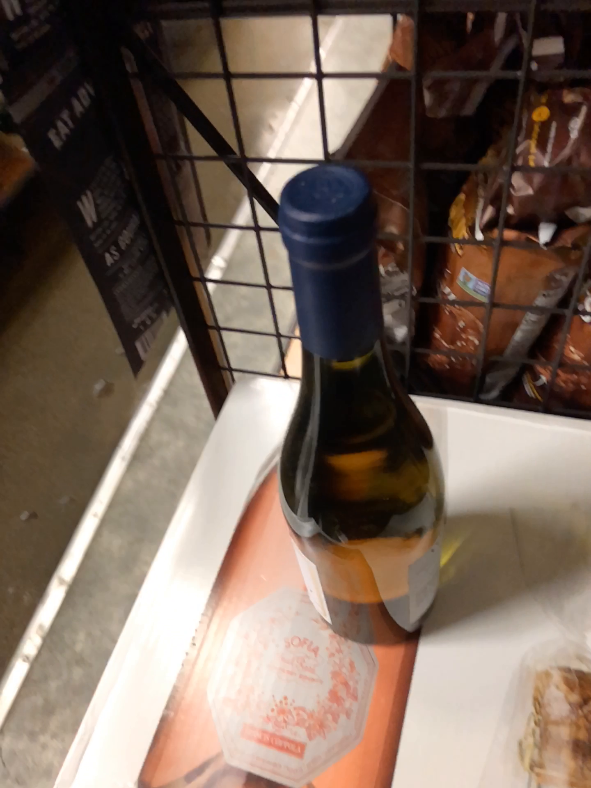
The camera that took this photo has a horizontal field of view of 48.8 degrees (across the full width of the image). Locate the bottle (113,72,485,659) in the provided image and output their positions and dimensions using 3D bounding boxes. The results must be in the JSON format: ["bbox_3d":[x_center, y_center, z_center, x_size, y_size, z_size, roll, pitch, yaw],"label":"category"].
[{"bbox_3d":[0.021,0.020,0.291,0.083,0.282,0.084,-4,50,5],"label":"bottle"}]
